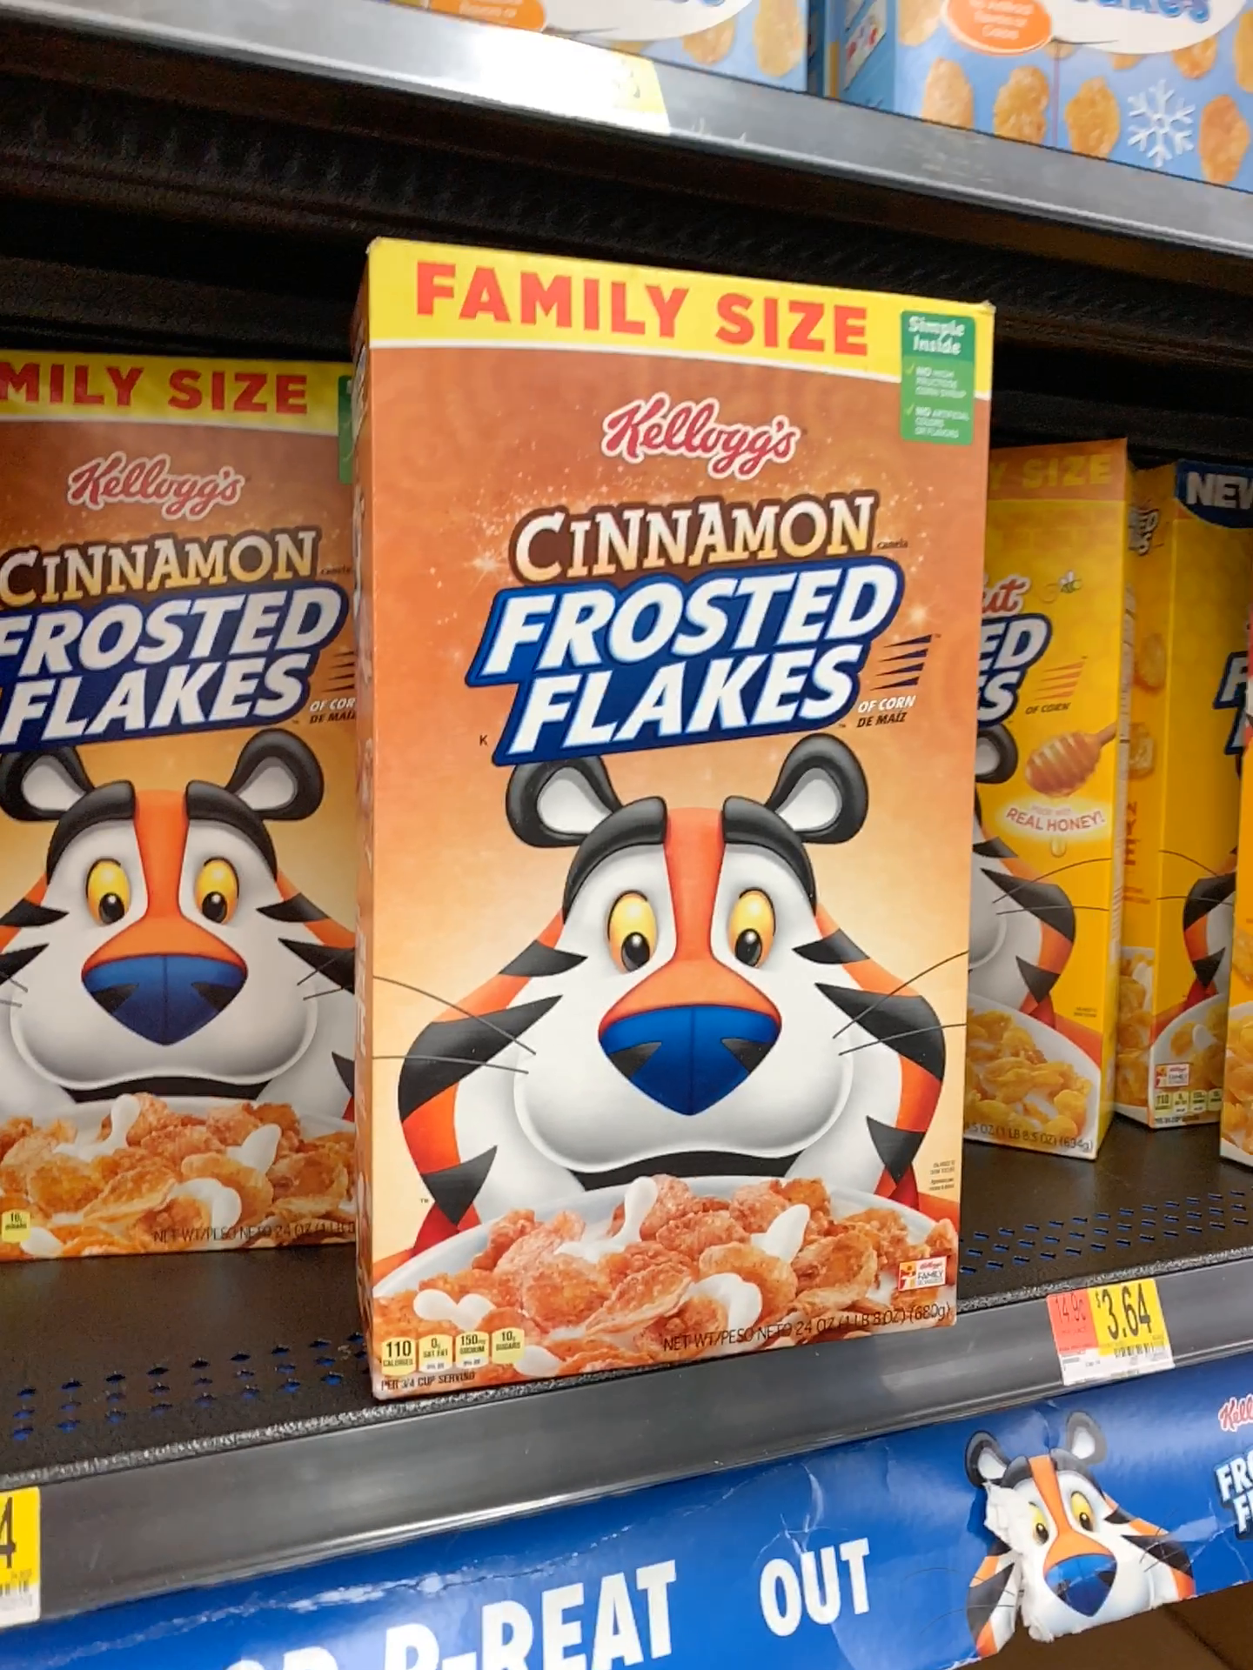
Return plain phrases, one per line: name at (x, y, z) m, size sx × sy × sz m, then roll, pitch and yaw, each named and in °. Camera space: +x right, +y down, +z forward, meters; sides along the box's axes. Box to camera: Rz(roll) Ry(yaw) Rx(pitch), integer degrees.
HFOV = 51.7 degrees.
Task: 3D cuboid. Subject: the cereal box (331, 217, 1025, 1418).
cereal box at (0.012, -0.003, 0.427) m, size 0.210 × 0.340 × 0.070 m, roll 0°, pitch 5°, yaw -16°
